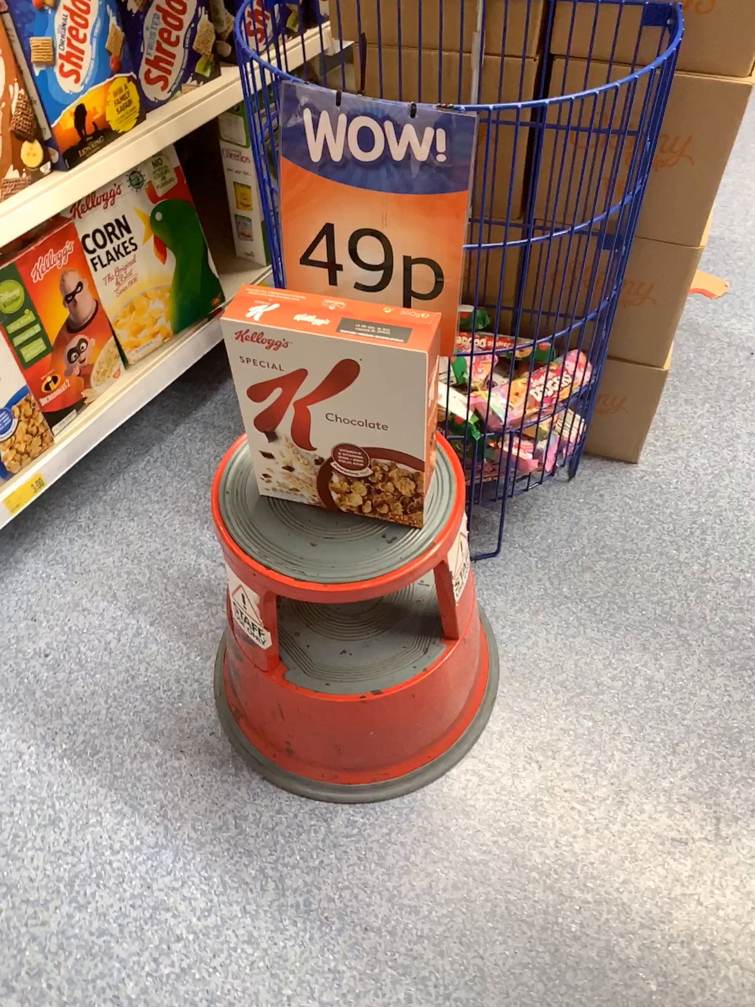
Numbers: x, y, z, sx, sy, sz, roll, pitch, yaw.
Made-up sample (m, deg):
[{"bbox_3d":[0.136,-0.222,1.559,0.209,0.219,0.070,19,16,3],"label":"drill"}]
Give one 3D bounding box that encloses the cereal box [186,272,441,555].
[{"bbox_3d":[-0.052,-0.078,0.758,0.210,0.268,0.060,13,51,13],"label":"cereal box"}]
